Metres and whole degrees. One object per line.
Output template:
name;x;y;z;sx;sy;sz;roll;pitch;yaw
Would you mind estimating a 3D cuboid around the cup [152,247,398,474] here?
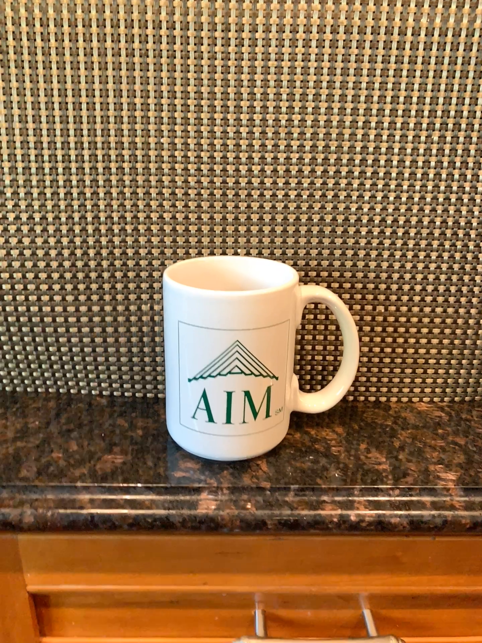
cup;0.012;0.017;0.321;0.130;0.109;0.090;-3;21;-11
